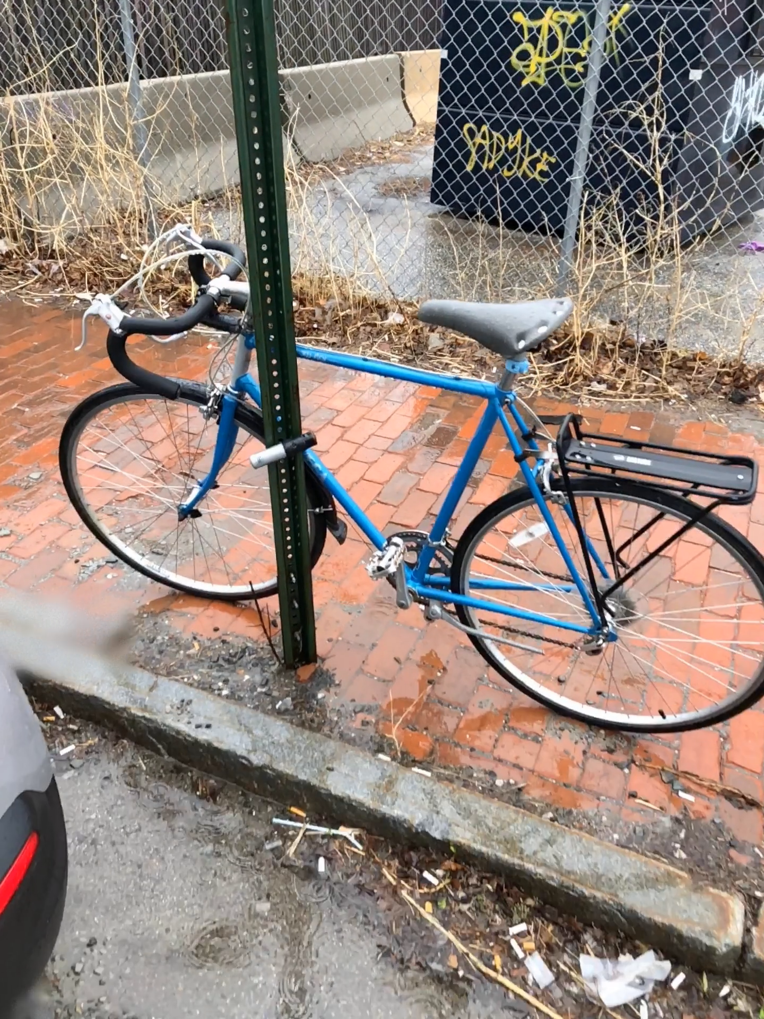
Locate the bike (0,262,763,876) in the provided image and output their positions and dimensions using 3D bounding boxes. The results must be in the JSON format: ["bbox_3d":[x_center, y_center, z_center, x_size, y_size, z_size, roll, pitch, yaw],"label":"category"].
[{"bbox_3d":[-0.036,0.059,1.980,1.865,0.919,0.475,13,33,17],"label":"bike"}]
